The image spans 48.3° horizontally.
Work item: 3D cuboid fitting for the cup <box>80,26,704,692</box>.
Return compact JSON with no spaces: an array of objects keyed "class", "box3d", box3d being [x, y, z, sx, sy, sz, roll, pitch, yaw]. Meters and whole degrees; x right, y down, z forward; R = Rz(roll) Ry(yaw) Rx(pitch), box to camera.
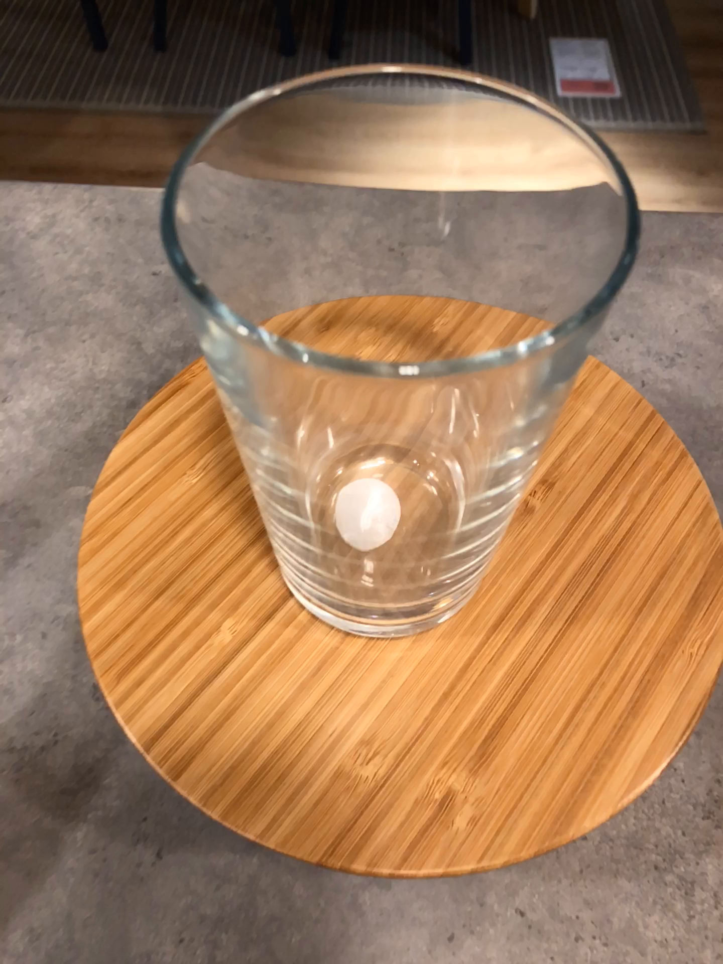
[{"class":"cup","box3d":[0.000,-0.022,0.214,0.100,0.140,0.100,0,55,-1]}]
